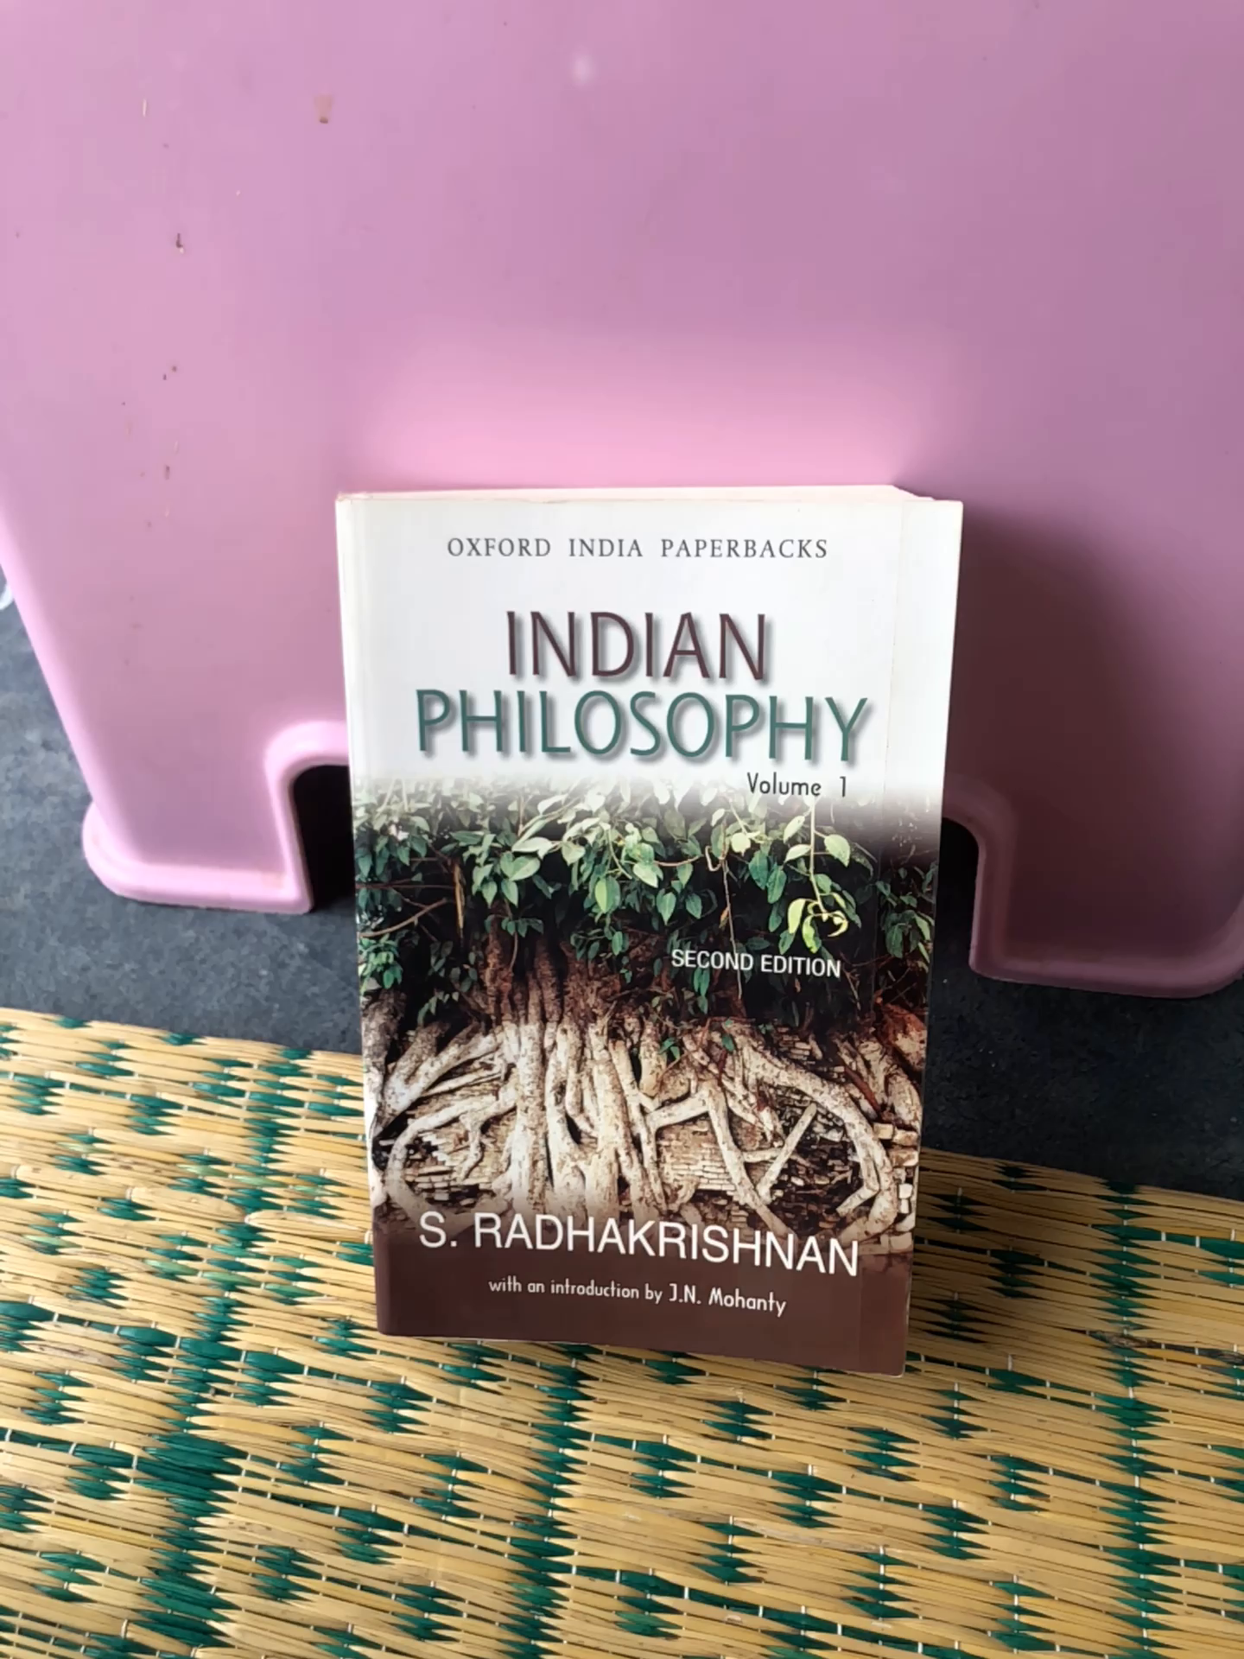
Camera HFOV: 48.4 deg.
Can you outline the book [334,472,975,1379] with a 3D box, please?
[{"bbox_3d":[0.007,0.020,0.355,0.140,0.210,0.070,2,10,5],"label":"book"}]
